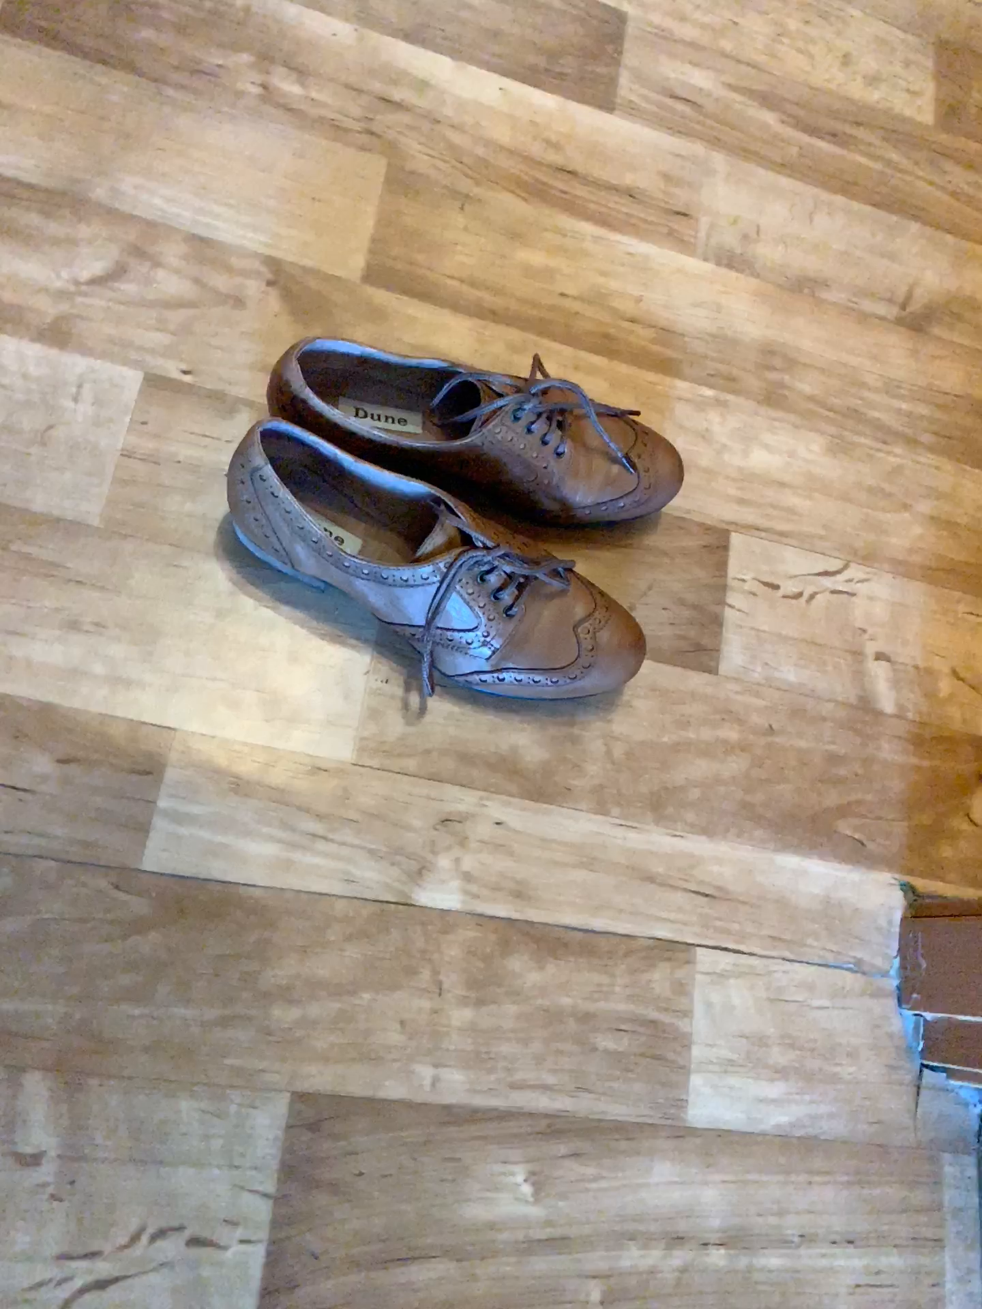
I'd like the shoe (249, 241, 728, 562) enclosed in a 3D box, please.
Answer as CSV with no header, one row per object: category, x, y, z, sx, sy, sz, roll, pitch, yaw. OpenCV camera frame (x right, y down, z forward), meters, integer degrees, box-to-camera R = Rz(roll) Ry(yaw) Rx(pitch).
shoe,-0.006,-0.125,0.541,0.230,0.120,0.080,7,72,-13

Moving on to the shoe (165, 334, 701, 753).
shoe,-0.034,-0.047,0.526,0.240,0.120,0.090,24,69,-8
